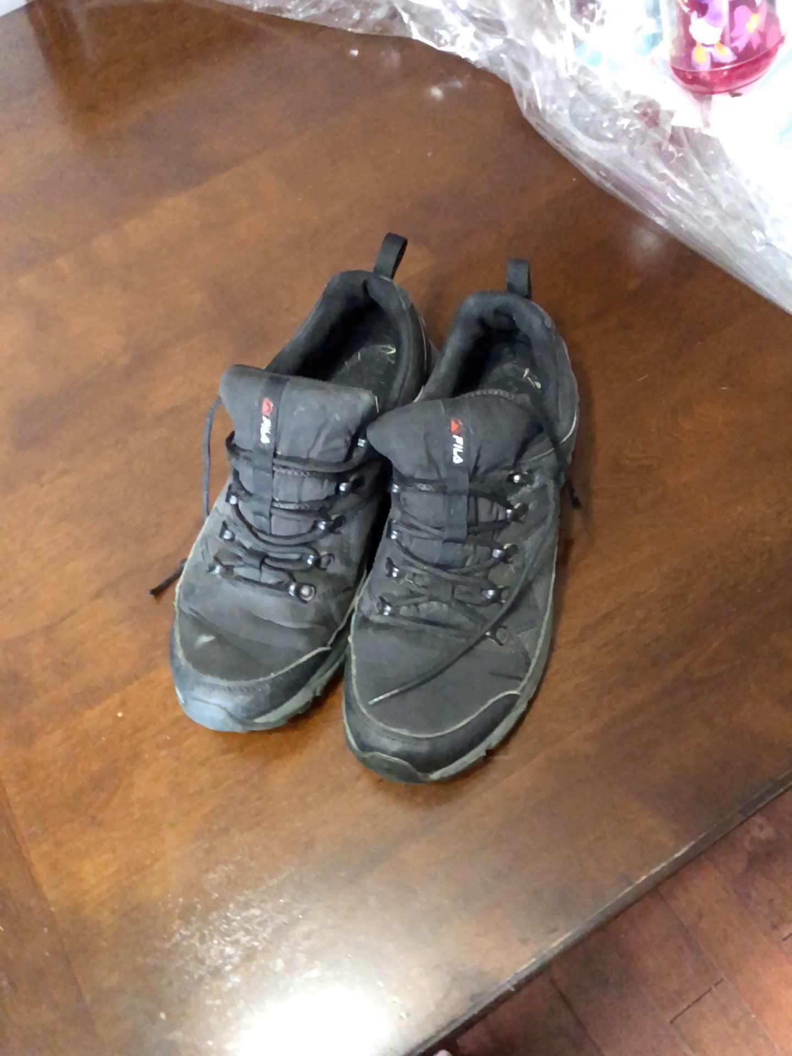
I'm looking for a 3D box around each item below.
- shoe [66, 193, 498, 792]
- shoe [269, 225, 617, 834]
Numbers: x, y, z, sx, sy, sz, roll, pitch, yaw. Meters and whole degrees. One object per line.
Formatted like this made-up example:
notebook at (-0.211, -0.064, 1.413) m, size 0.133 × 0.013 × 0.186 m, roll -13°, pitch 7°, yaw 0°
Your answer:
shoe at (-0.042, -0.024, 0.557) m, size 0.120 × 0.170 × 0.320 m, roll 16°, pitch 66°, yaw 15°
shoe at (0.044, -0.004, 0.529) m, size 0.120 × 0.150 × 0.320 m, roll 9°, pitch 64°, yaw 11°
